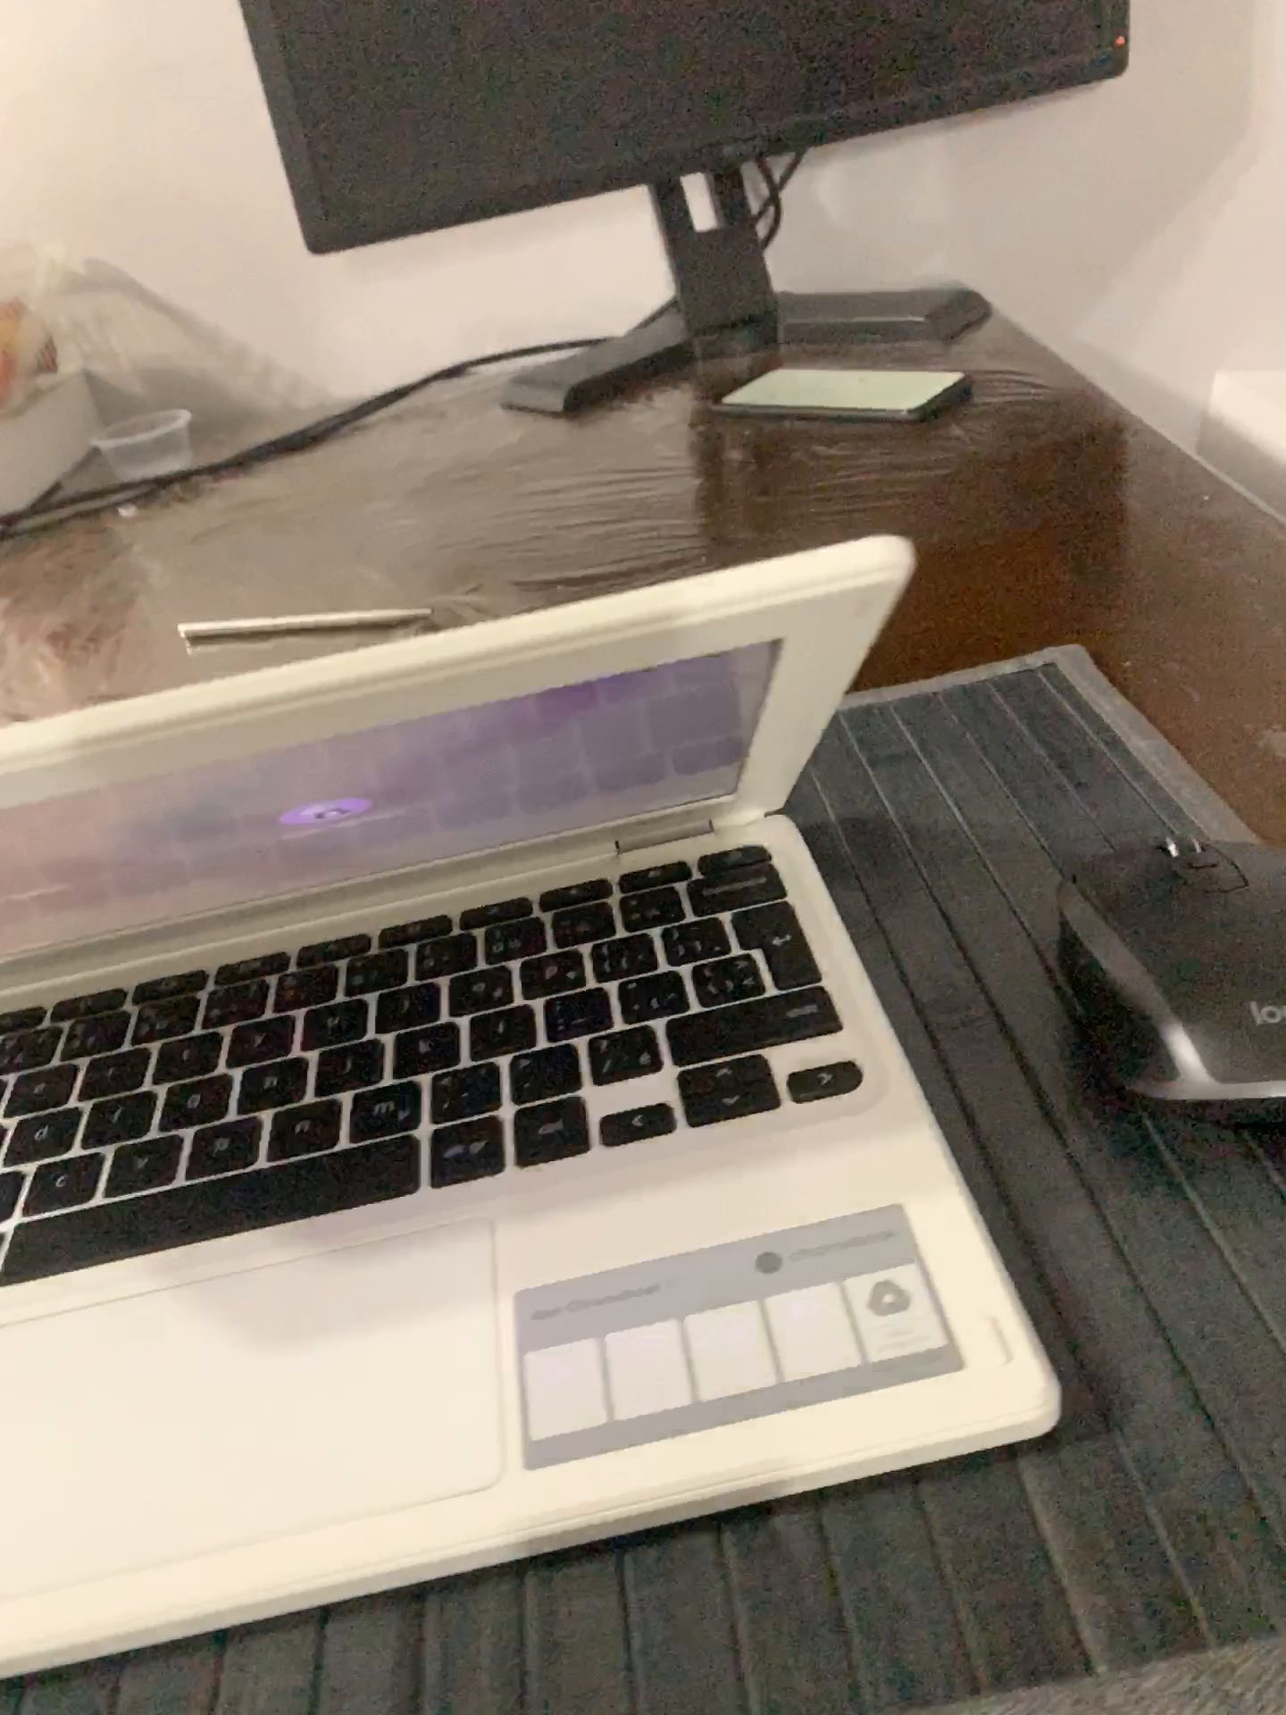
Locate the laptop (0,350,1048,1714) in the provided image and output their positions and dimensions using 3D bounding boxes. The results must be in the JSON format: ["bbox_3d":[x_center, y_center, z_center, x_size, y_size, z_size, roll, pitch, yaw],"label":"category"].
[{"bbox_3d":[-0.096,0.016,0.250,0.280,0.124,0.182,-13,32,-2],"label":"laptop"}]
